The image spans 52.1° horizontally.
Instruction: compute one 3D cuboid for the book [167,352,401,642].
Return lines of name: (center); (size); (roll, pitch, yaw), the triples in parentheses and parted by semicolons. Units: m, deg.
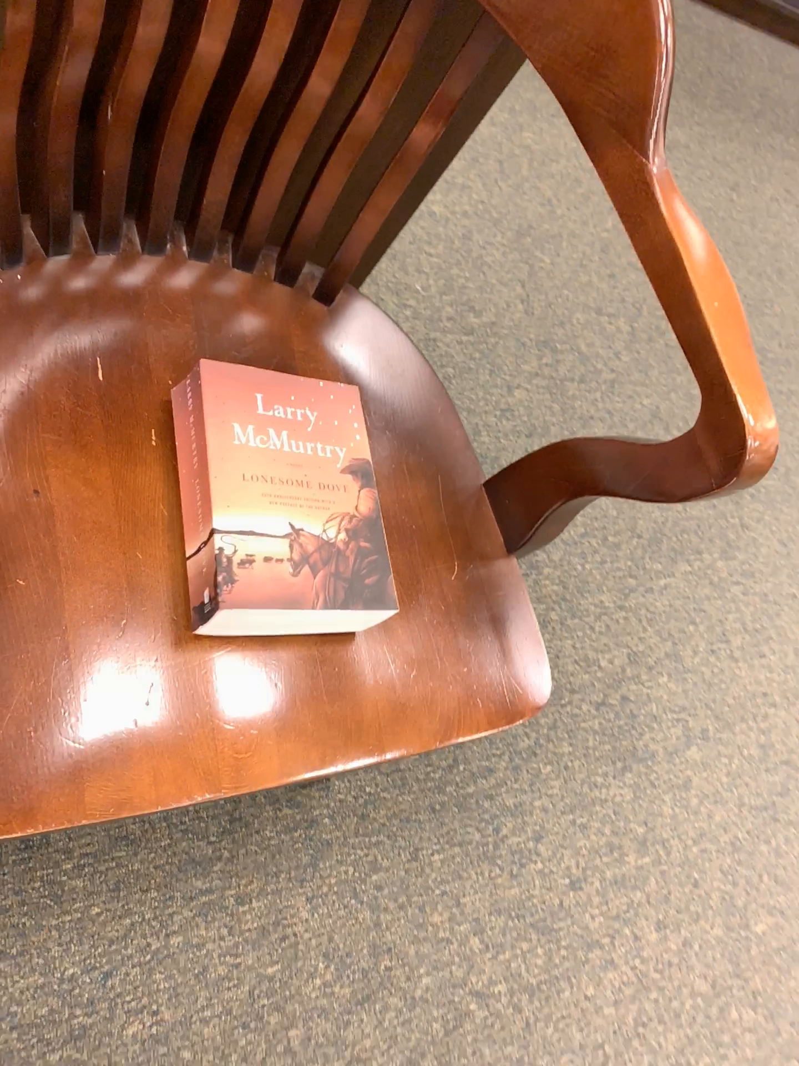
book: (-0.091, -0.025, 0.610); (0.140, 0.060, 0.201); (4, 62, -29)
